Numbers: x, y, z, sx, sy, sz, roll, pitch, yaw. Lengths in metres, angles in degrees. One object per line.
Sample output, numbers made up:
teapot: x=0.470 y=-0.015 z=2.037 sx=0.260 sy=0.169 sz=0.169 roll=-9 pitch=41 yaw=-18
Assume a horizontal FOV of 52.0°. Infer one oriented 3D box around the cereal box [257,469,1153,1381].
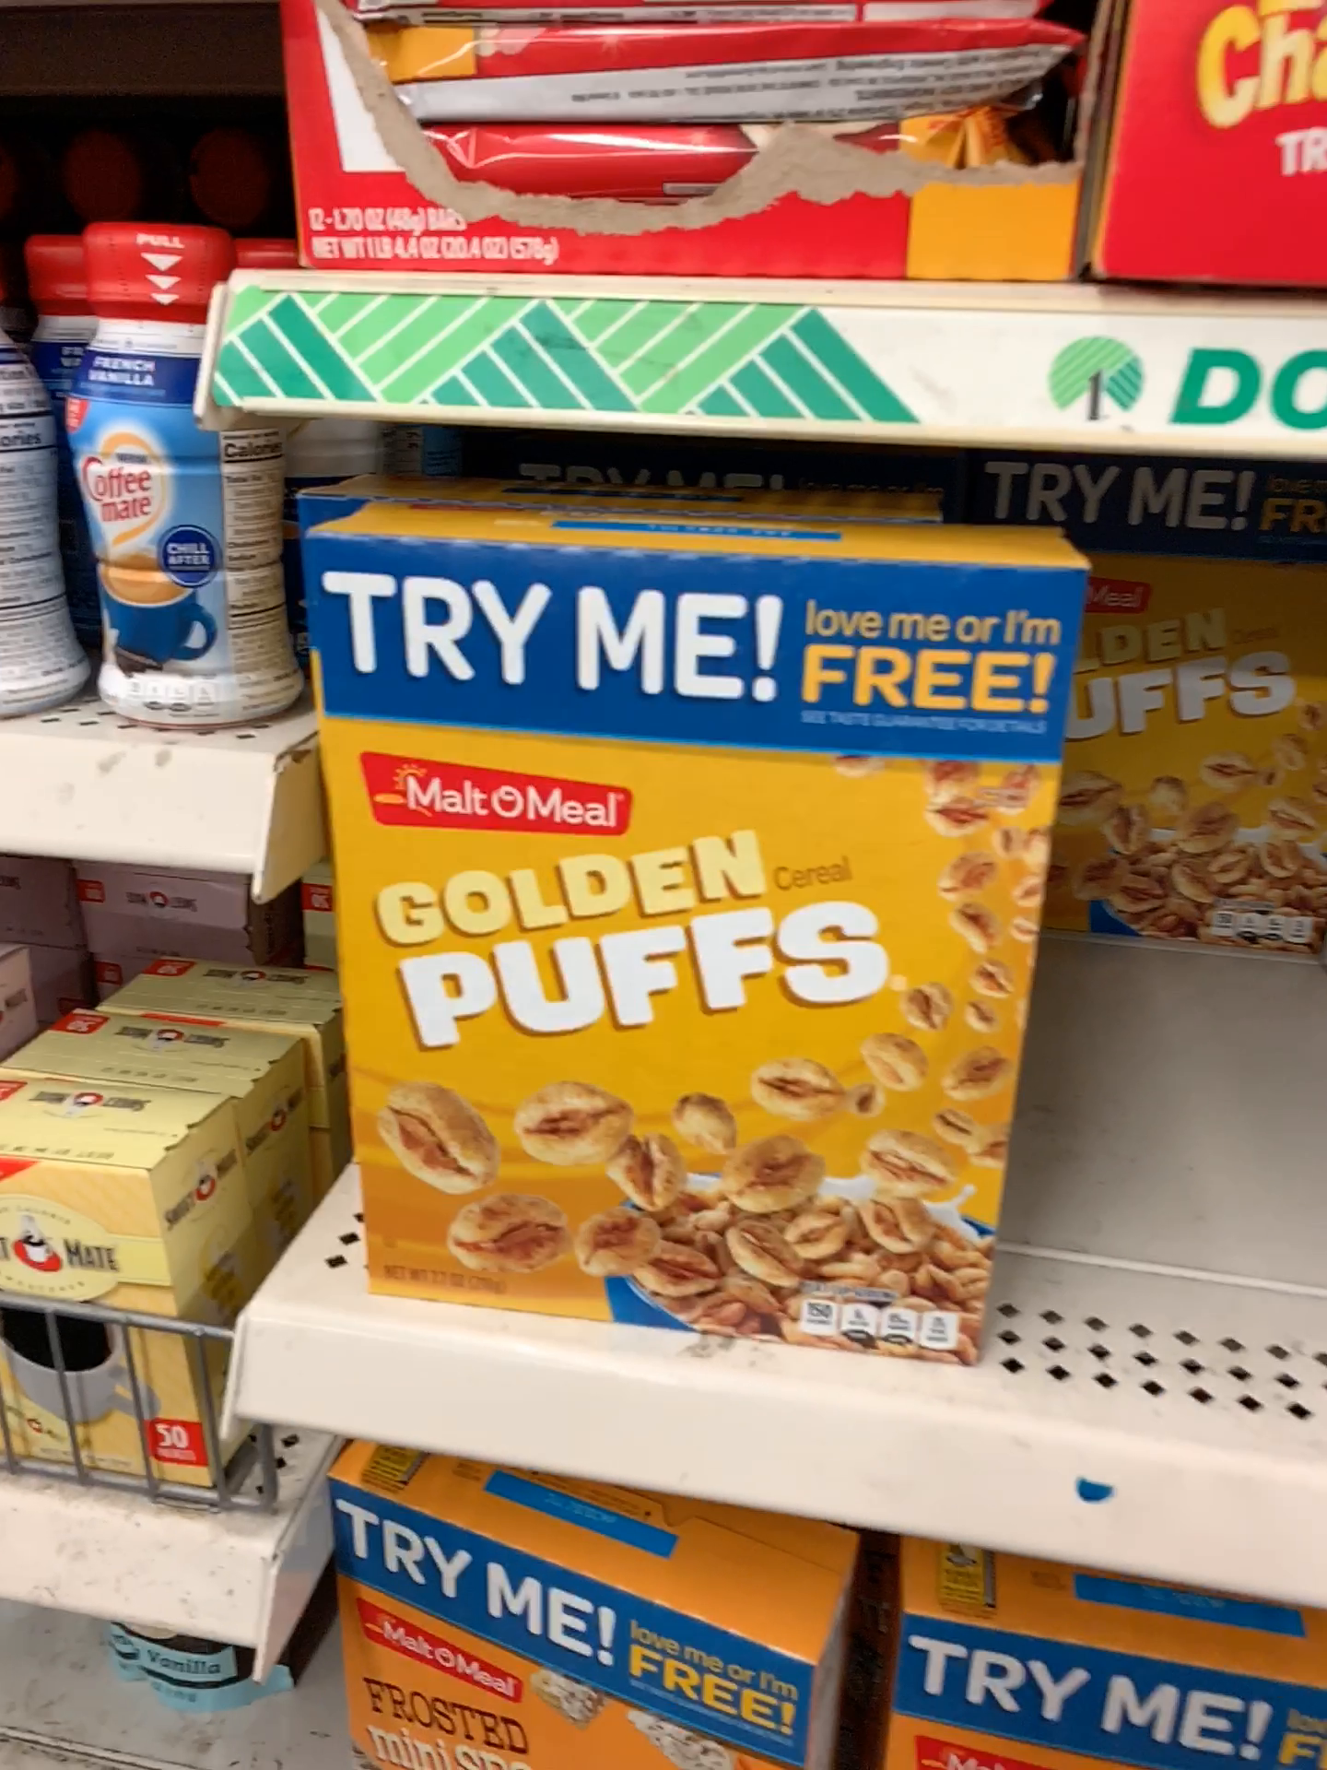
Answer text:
cereal box: x=0.007 y=0.012 z=0.356 sx=0.190 sy=0.219 sz=0.060 roll=4 pitch=23 yaw=8
